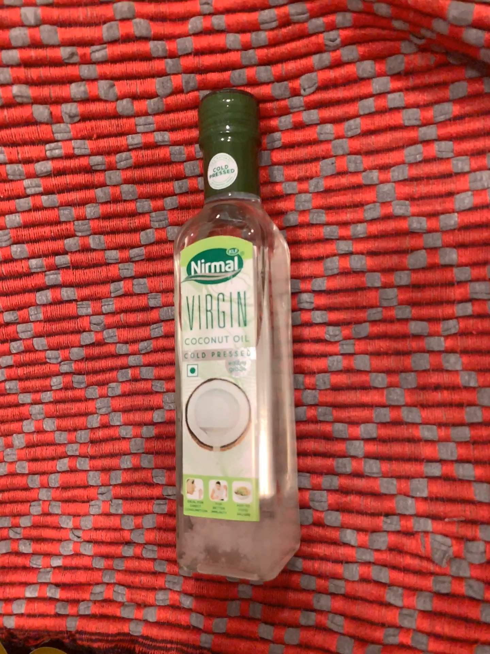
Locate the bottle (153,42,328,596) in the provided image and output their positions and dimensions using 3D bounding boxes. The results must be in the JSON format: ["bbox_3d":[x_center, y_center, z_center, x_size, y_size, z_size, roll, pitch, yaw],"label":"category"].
[{"bbox_3d":[-0.002,-0.006,0.237,0.060,0.060,0.220,-4,82,21],"label":"bottle"}]
